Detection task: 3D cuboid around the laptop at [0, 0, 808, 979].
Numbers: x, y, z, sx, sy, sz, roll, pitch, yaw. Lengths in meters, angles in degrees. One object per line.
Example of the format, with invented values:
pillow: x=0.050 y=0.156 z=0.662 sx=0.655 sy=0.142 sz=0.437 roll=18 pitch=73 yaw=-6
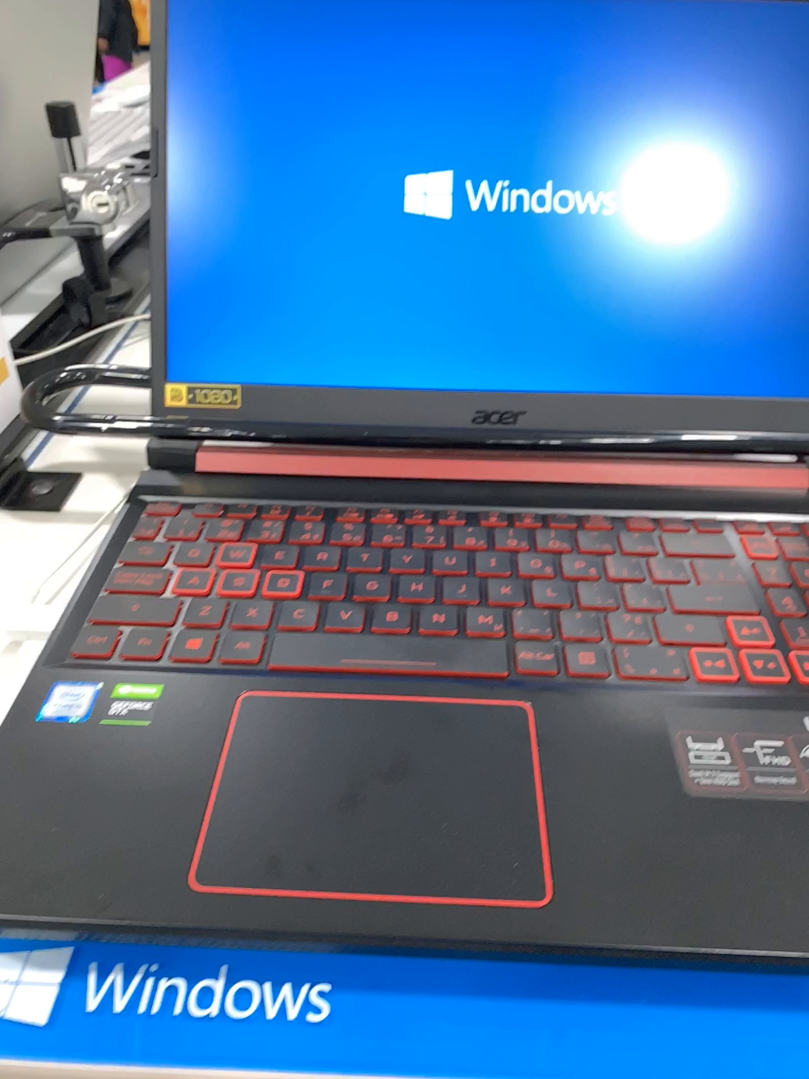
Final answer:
laptop: x=0.039 y=-0.093 z=0.326 sx=0.358 sy=0.198 sz=0.381 roll=2 pitch=38 yaw=2
